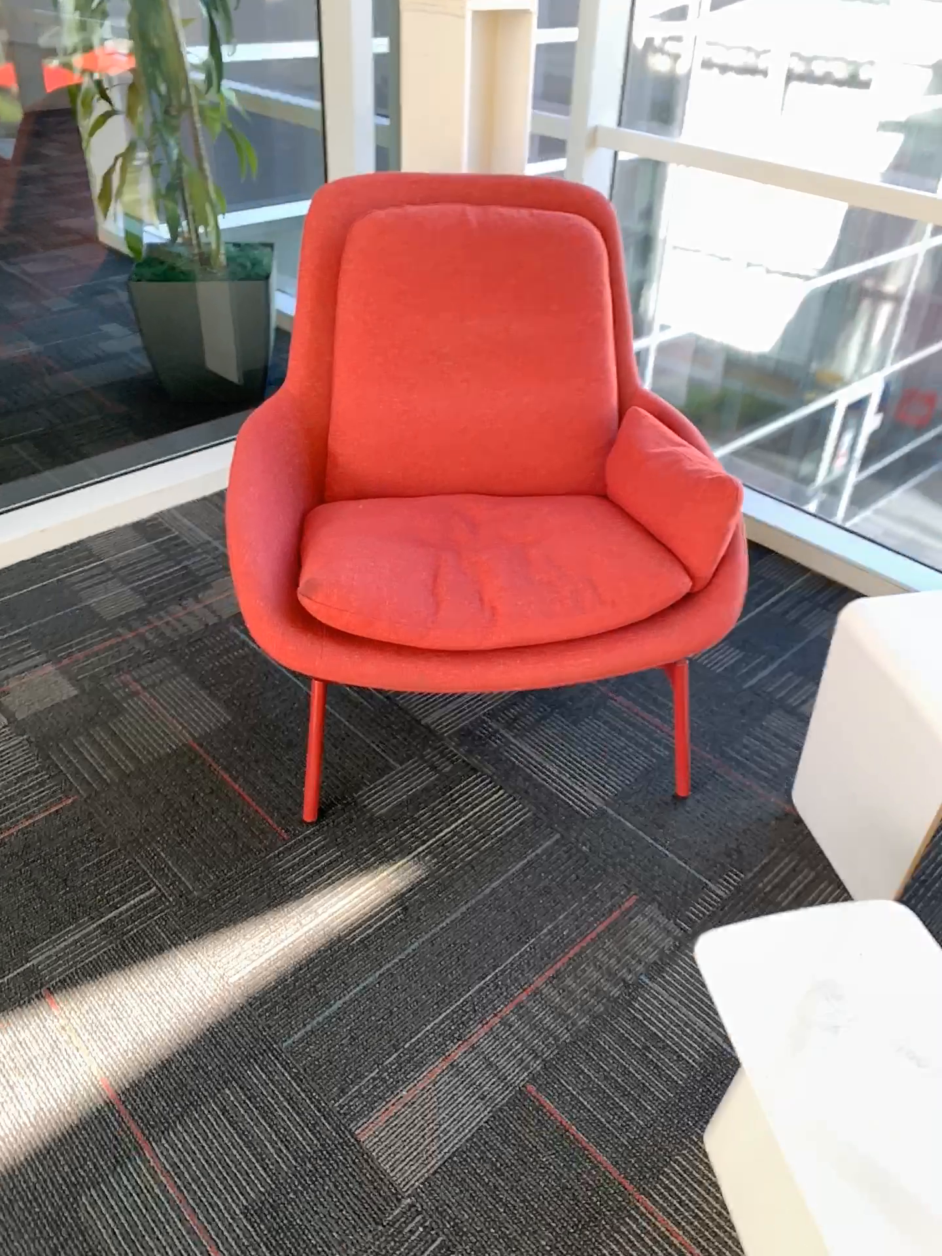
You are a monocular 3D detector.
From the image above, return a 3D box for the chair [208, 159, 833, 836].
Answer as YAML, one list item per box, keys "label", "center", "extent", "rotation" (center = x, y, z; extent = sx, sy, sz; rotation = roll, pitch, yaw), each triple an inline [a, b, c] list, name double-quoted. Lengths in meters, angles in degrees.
- label: "chair"
  center: [0.010, -0.283, 1.958]
  extent: [0.870, 1.053, 0.825]
  rotation: [-3, 37, -7]
